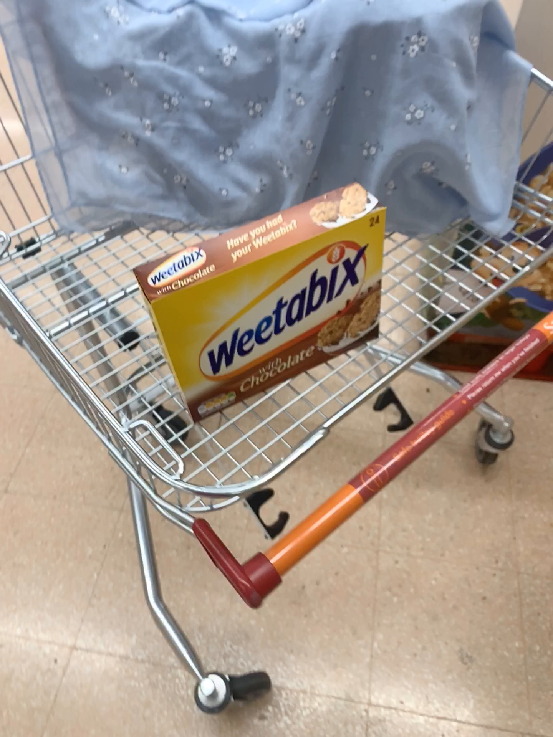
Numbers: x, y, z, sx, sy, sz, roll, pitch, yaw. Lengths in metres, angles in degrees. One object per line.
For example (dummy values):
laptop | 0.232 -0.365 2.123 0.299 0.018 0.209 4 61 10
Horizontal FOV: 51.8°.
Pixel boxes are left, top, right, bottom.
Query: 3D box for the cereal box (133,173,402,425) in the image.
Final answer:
cereal box | 0.001 -0.068 0.597 0.250 0.188 0.060 -24 52 -16
